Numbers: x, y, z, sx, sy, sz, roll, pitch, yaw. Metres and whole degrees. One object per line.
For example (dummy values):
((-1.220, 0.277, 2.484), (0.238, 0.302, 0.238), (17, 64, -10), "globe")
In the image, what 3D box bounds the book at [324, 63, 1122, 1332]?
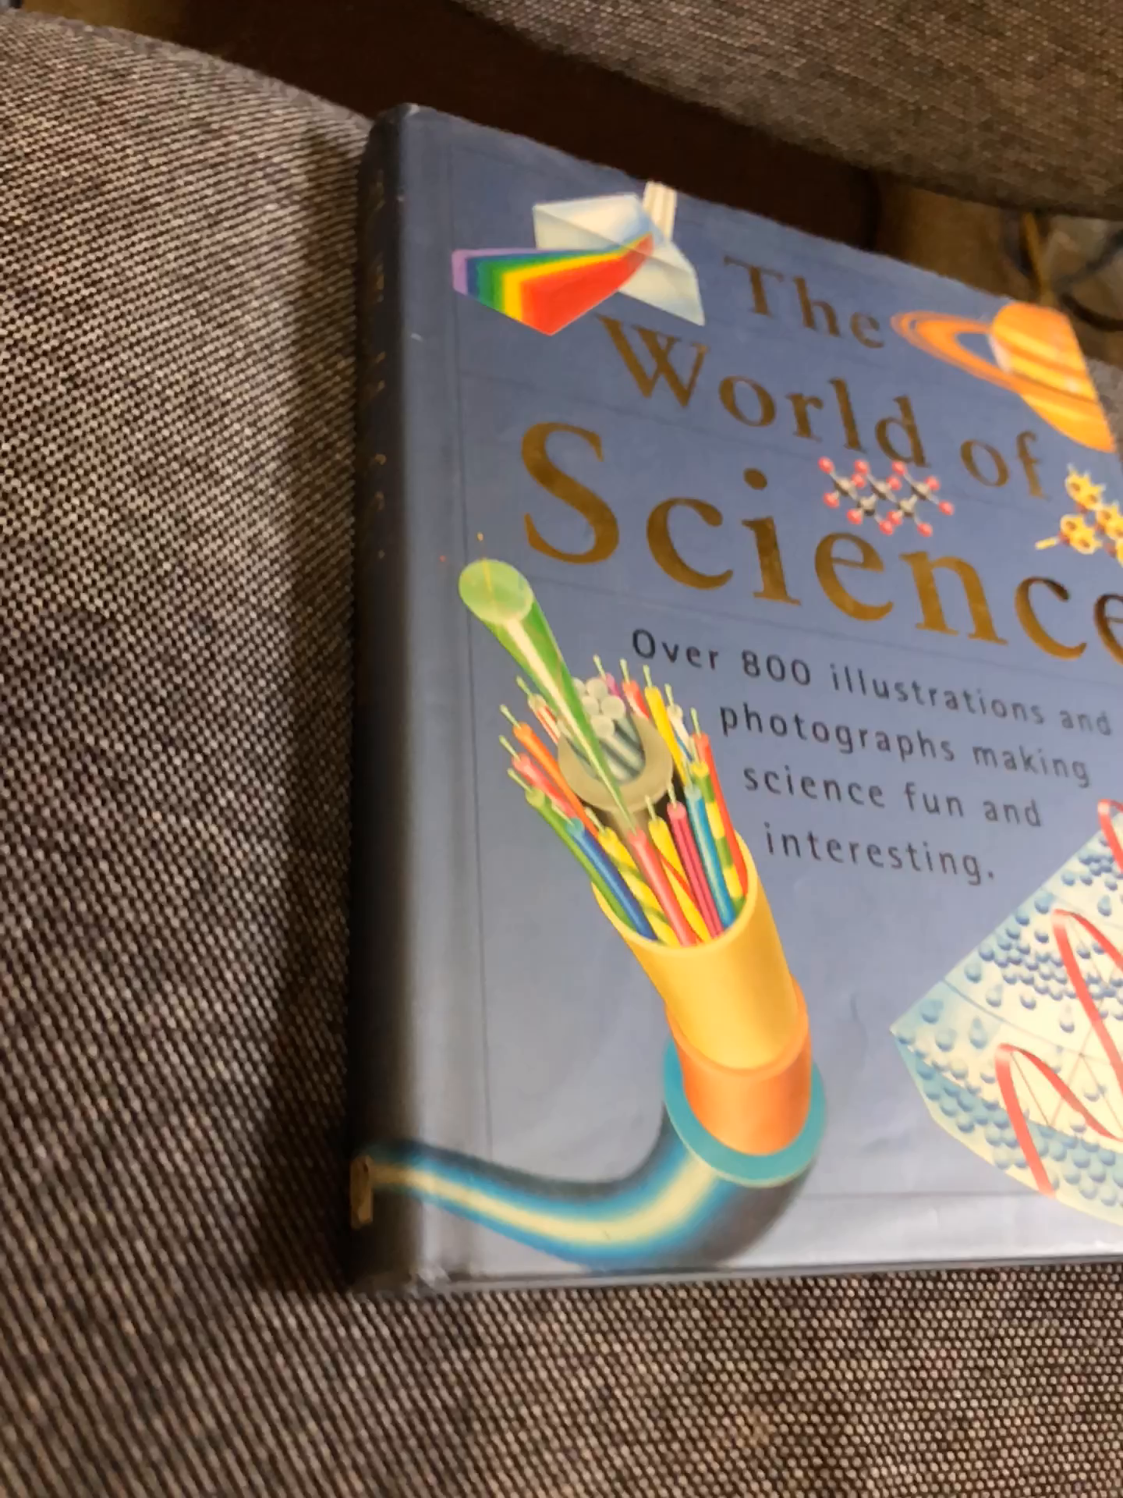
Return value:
((0.058, -0.024, 0.294), (0.221, 0.030, 0.276), (7, 60, -23), "book")
